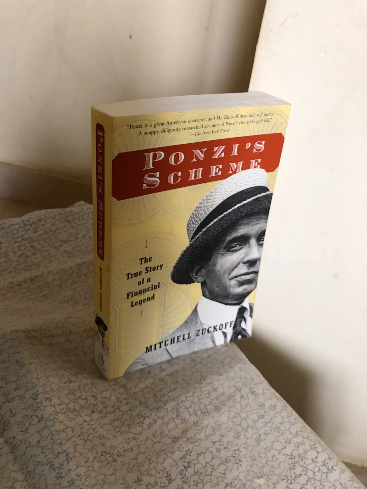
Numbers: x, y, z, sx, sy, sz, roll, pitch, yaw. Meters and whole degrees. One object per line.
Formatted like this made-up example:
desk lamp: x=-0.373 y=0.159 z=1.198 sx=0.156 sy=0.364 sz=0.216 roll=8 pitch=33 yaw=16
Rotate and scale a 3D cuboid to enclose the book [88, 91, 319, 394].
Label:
book: x=0.008 y=0.002 z=0.304 sx=0.140 sy=0.209 sz=0.040 roll=-13 pitch=37 yaw=-27
